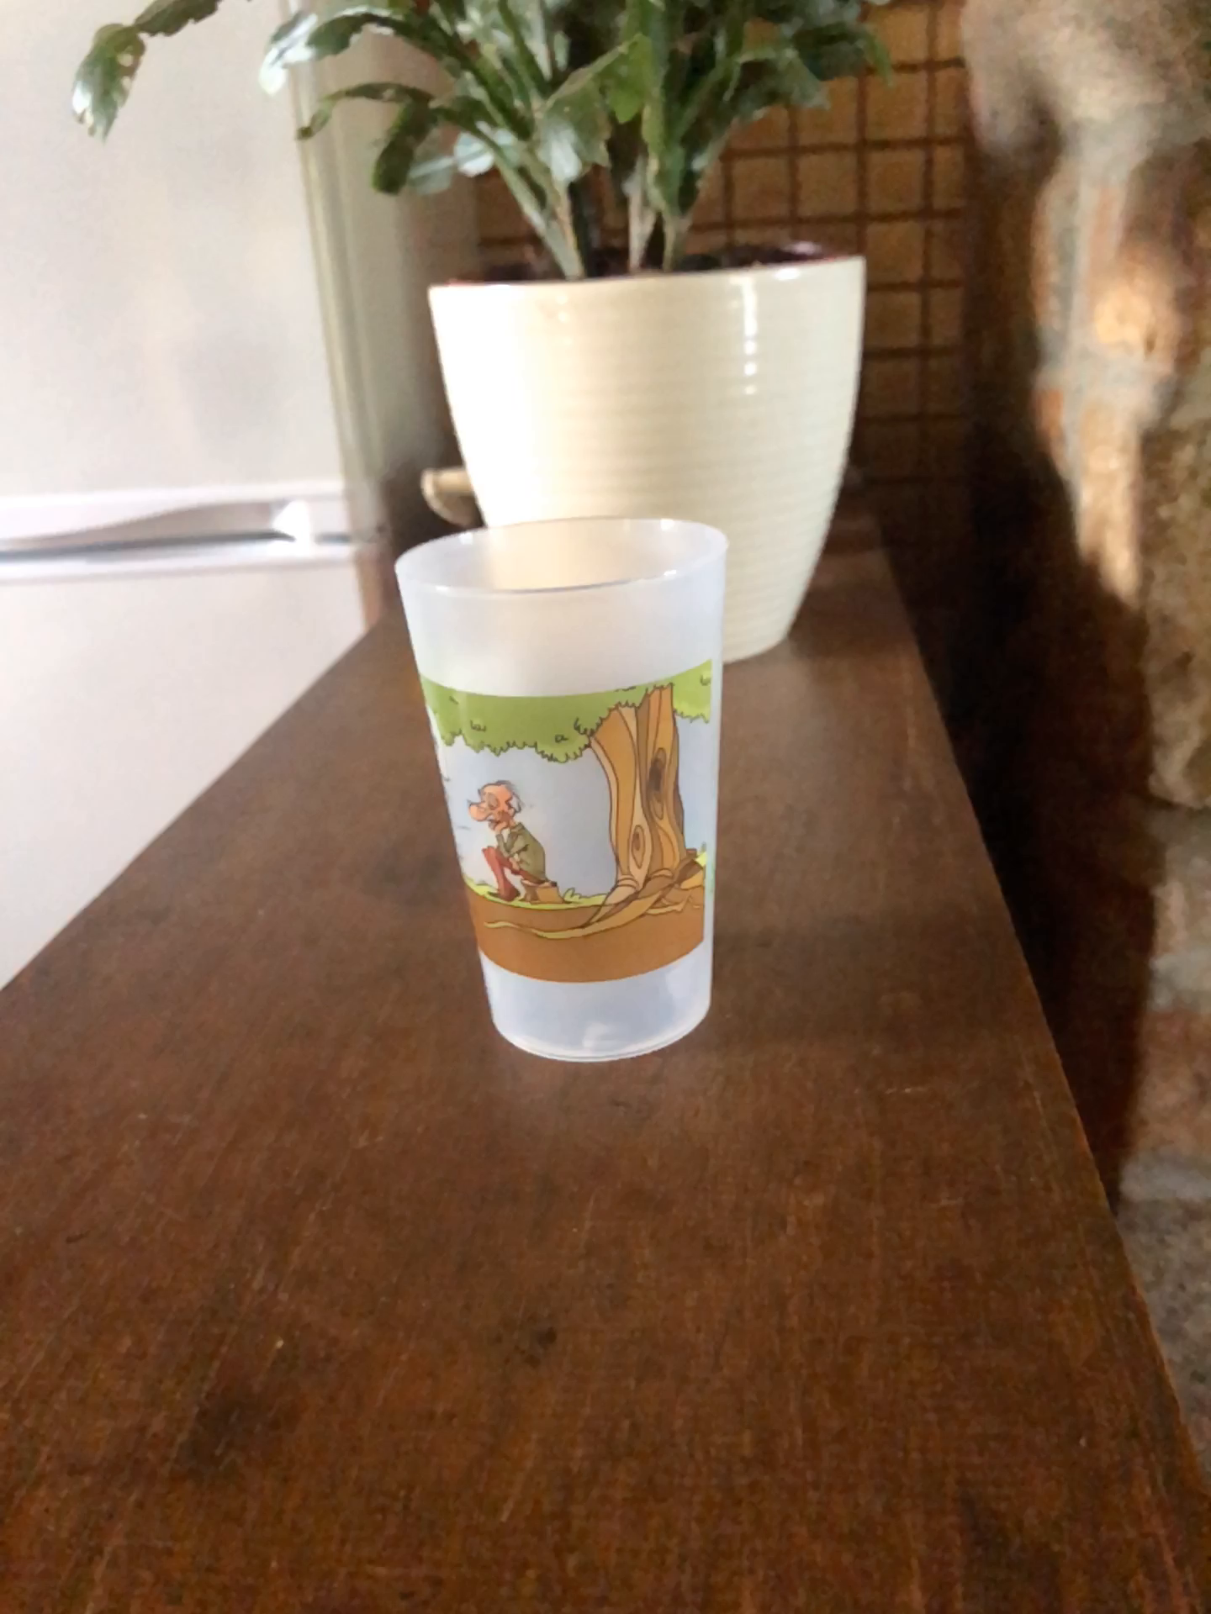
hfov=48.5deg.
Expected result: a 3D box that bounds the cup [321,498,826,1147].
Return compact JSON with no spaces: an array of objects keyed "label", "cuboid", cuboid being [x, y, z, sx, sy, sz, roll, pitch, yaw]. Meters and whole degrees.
[{"label":"cup","cuboid":[-0.005,-0.004,0.320,0.080,0.119,0.080,-3,22,1]}]

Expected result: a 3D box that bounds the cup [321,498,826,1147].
[{"label":"cup","cuboid":[-0.005,-0.004,0.320,0.080,0.119,0.080,-3,22,1]}]
